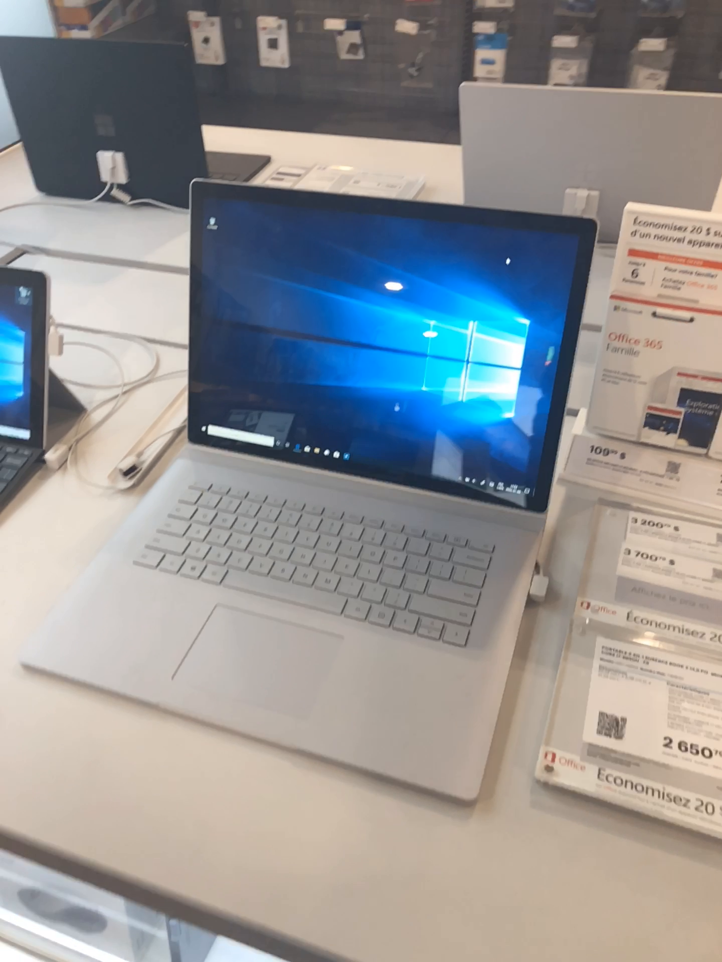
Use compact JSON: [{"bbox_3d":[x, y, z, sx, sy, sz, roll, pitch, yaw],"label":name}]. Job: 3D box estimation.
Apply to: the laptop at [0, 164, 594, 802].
[{"bbox_3d":[-0.037,-0.039,0.590,0.339,0.207,0.366,11,46,15],"label":"laptop"}]
